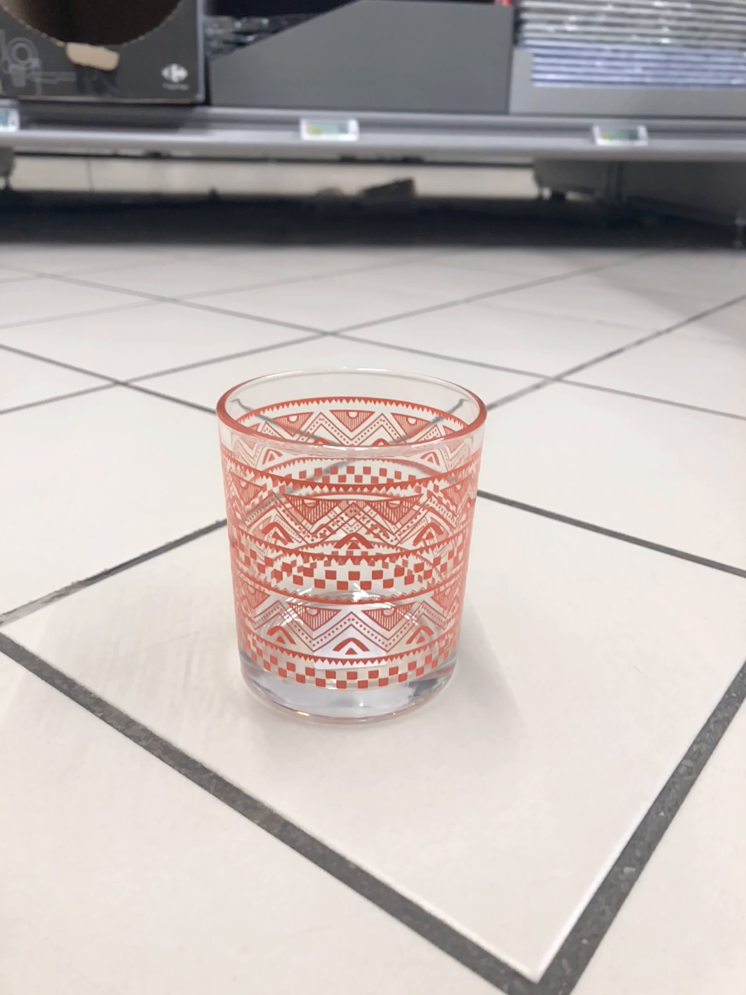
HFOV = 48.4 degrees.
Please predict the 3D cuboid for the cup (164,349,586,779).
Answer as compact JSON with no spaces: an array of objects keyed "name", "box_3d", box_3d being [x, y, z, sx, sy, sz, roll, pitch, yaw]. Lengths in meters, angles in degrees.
[{"name":"cup","box_3d":[0.001,0.009,0.239,0.078,0.078,0.084,1,23,-1]}]
